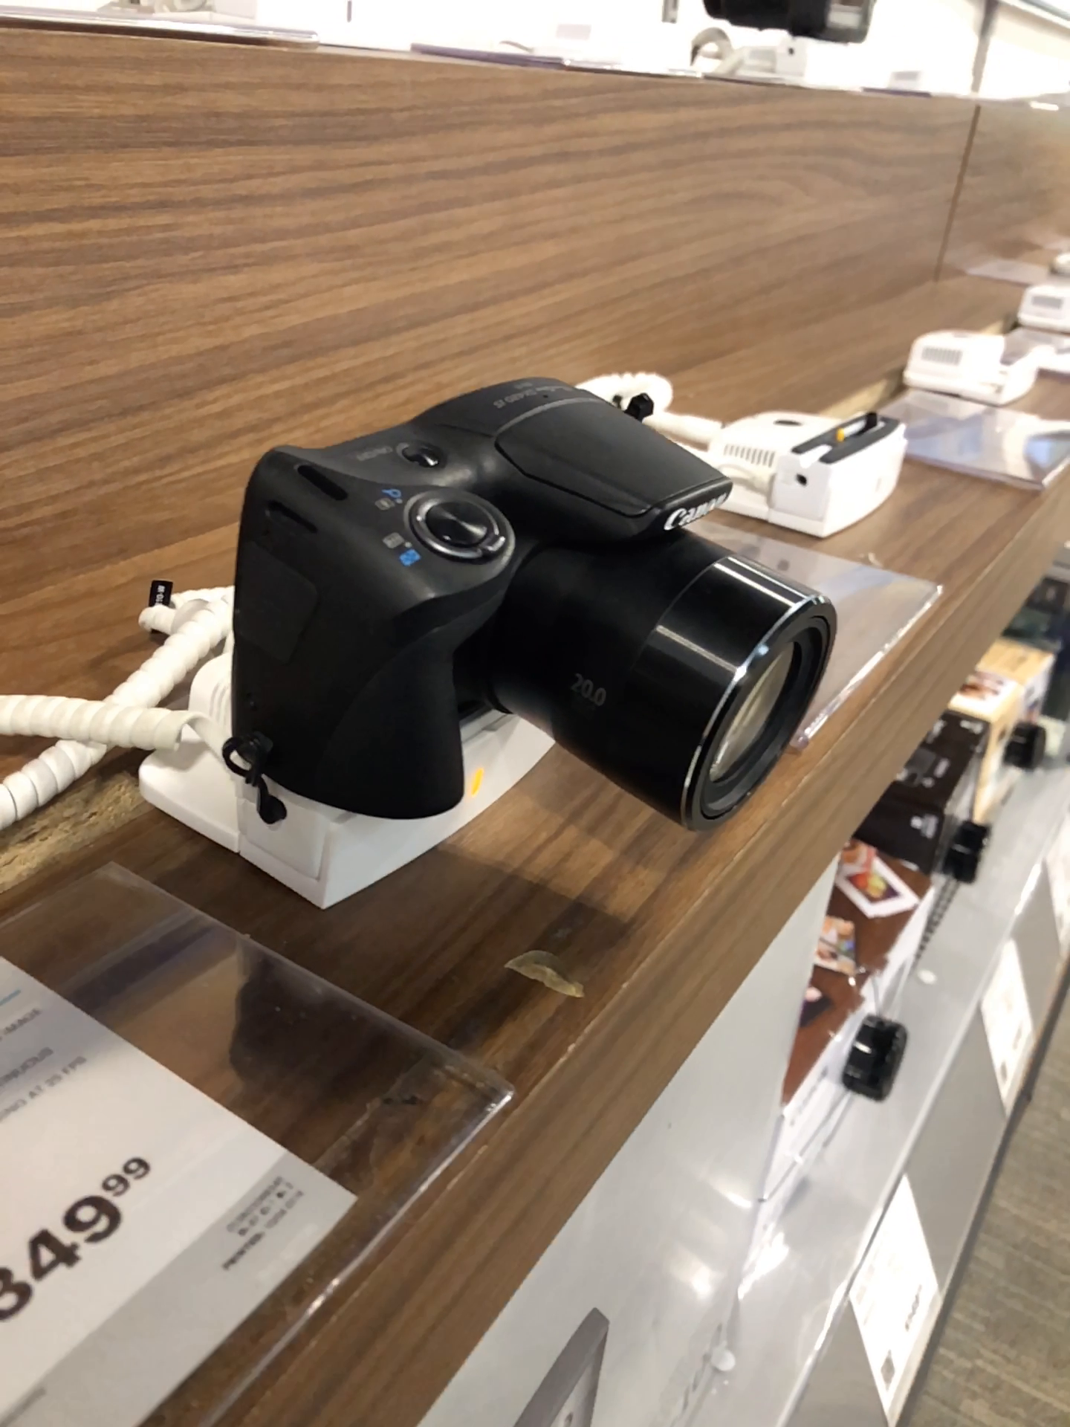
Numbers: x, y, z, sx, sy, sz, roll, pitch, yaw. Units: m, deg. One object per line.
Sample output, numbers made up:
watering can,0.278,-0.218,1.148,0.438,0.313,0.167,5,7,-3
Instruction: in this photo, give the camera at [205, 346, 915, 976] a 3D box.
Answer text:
camera,0.007,-0.021,0.232,0.090,0.070,0.100,21,32,27
